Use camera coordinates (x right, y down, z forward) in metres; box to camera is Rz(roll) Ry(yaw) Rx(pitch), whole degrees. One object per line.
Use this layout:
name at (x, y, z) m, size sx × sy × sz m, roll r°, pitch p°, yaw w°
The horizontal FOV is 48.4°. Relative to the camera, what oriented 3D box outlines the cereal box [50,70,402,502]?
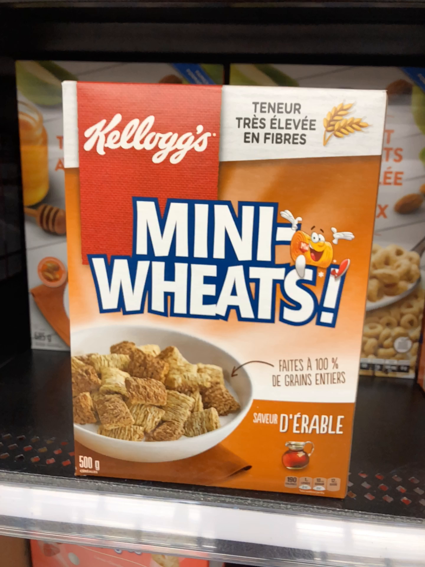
cereal box at (0.003, 0.004, 0.328) m, size 0.200 × 0.269 × 0.060 m, roll 3°, pitch 13°, yaw 6°
